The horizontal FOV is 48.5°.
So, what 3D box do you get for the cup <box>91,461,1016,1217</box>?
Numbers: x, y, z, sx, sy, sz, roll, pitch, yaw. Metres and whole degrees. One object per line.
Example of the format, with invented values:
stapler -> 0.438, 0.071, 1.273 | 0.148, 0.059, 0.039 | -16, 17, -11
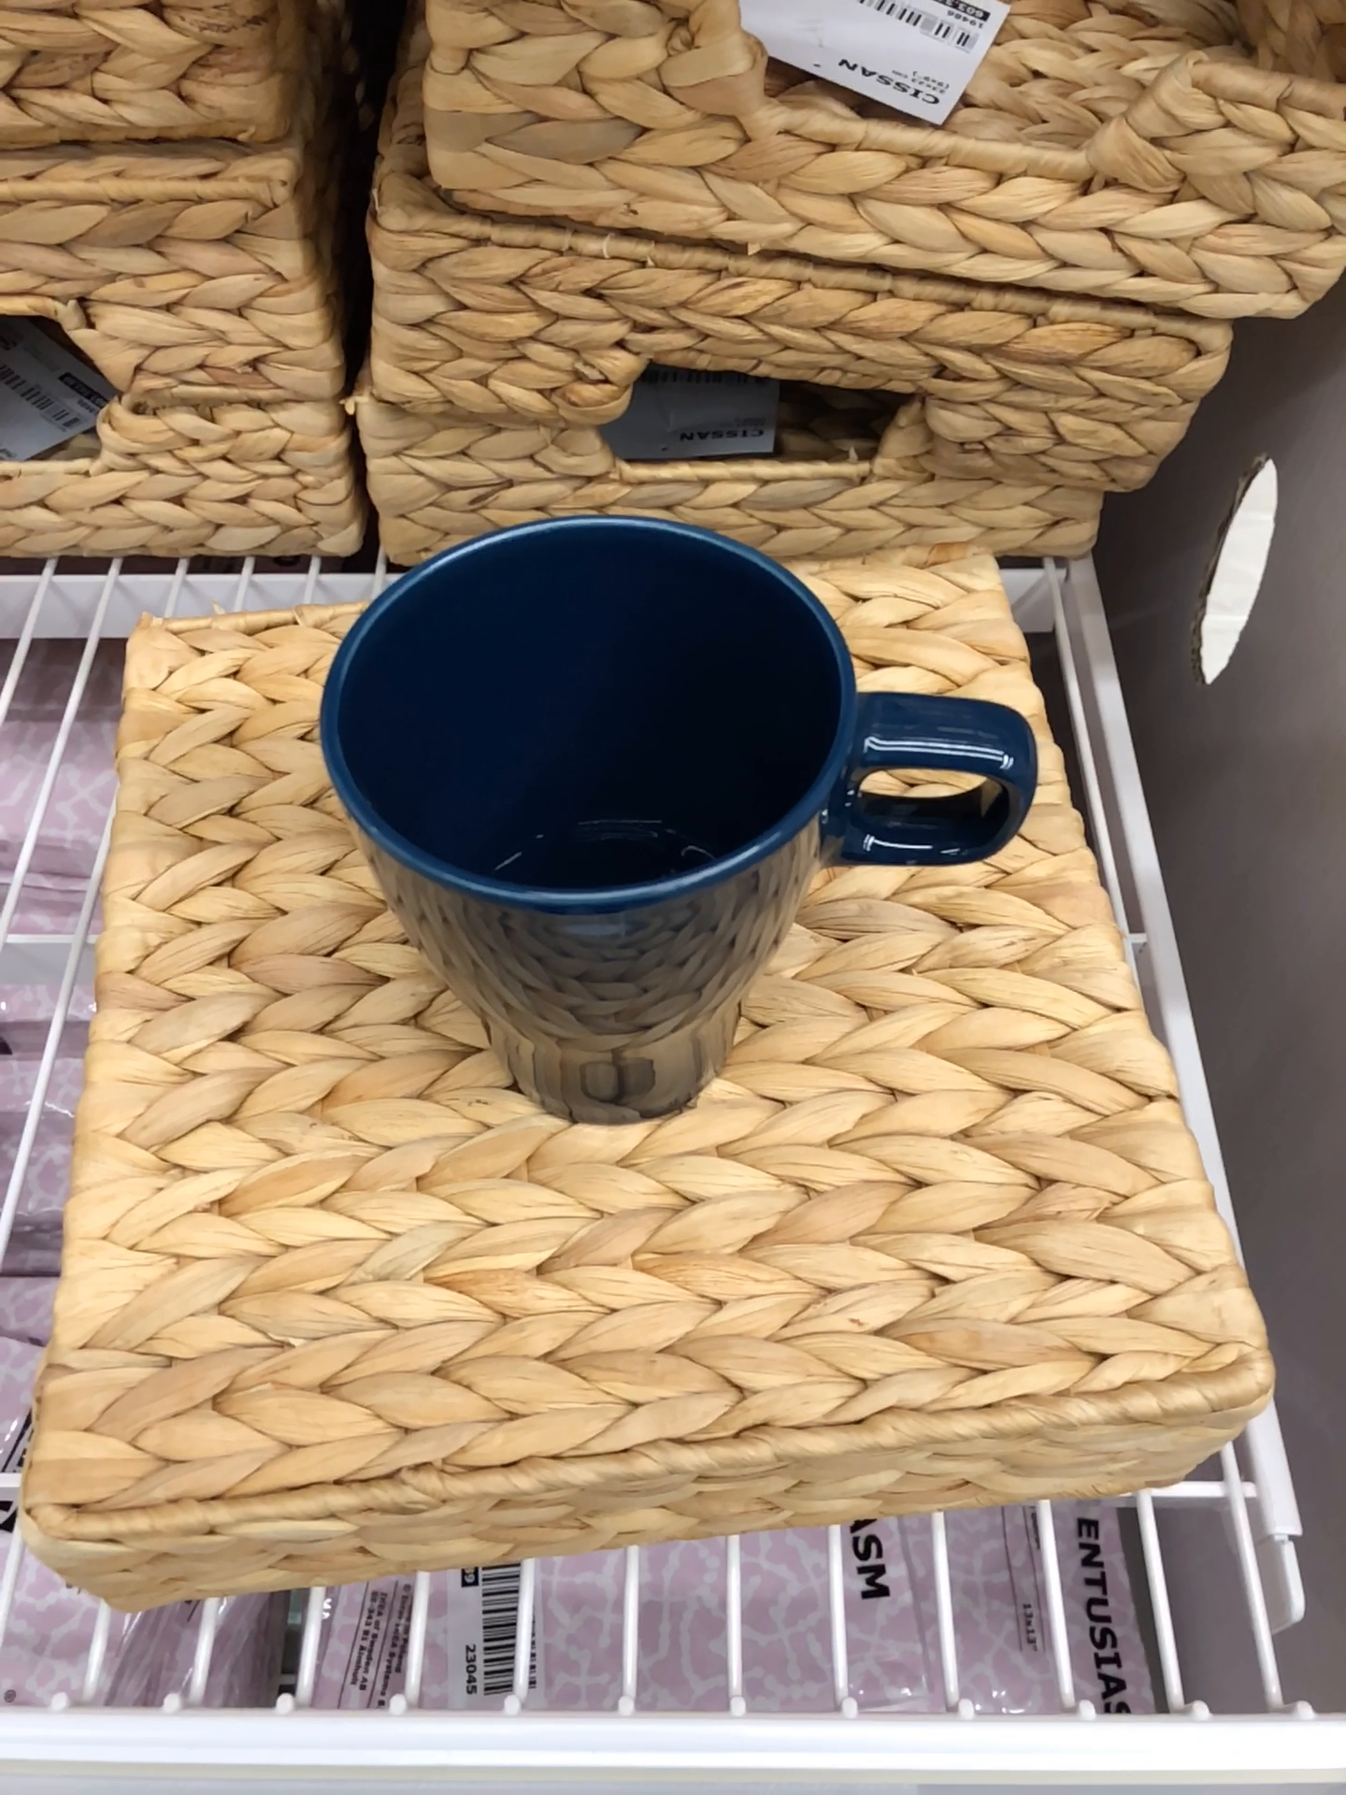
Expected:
cup -> -0.012, -0.008, 0.251 | 0.120, 0.090, 0.080 | 5, 55, 5
